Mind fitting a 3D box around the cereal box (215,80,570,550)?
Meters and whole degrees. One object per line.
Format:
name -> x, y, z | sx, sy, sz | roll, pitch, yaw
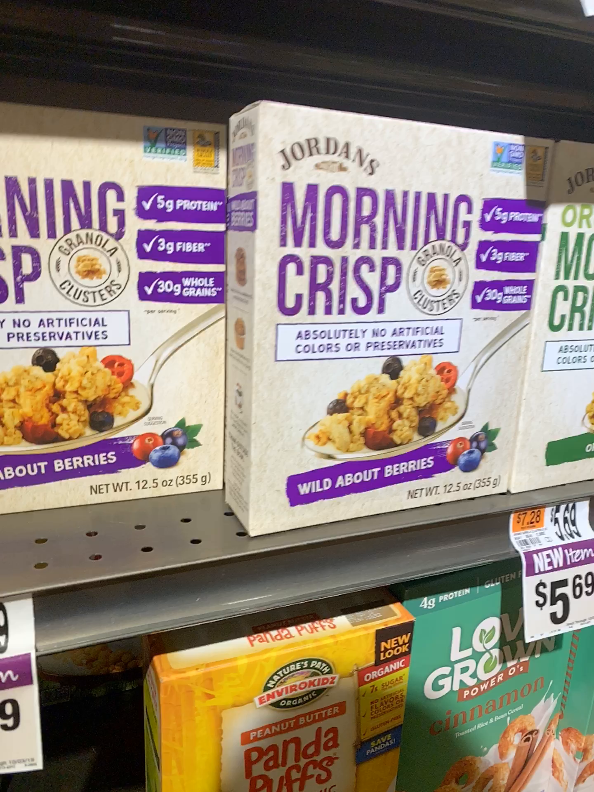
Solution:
cereal box -> 0.049, -0.042, 0.347 | 0.180, 0.219, 0.060 | -5, 16, -24
